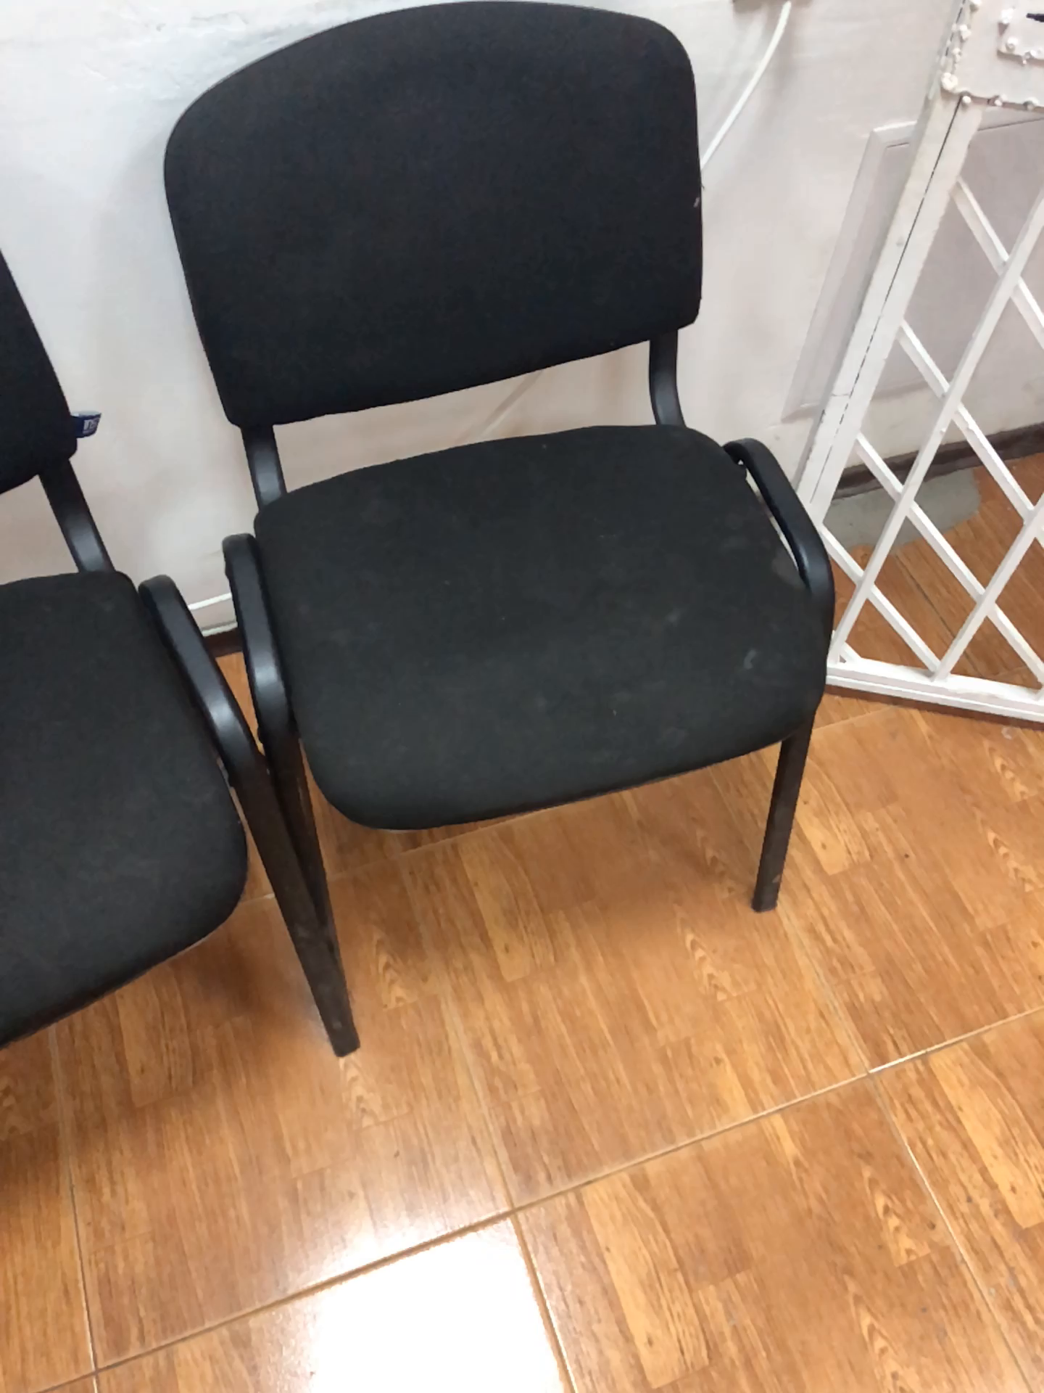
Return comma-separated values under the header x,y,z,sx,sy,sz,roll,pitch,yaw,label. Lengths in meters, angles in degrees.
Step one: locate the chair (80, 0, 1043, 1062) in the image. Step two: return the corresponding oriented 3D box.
x,y,z,sx,sy,sz,roll,pitch,yaw,label
-0.002,-0.140,1.086,0.570,0.688,0.621,-13,57,-12,chair
